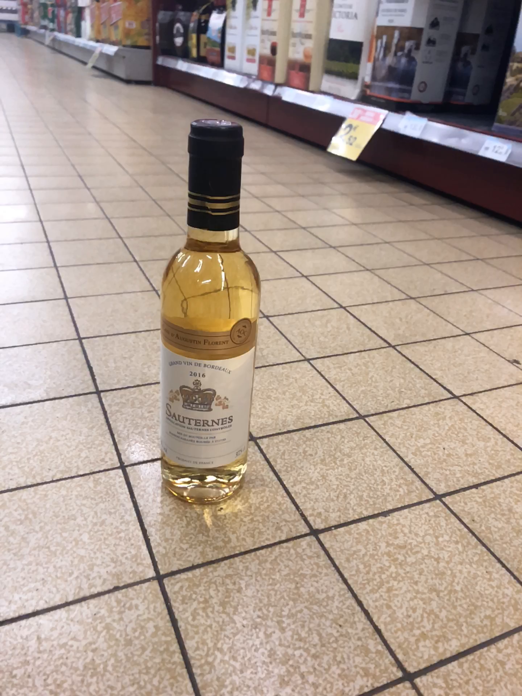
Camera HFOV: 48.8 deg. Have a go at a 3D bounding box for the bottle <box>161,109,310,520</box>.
[{"bbox_3d":[-0.019,-0.012,0.355,0.070,0.239,0.070,4,27,-2],"label":"bottle"}]
